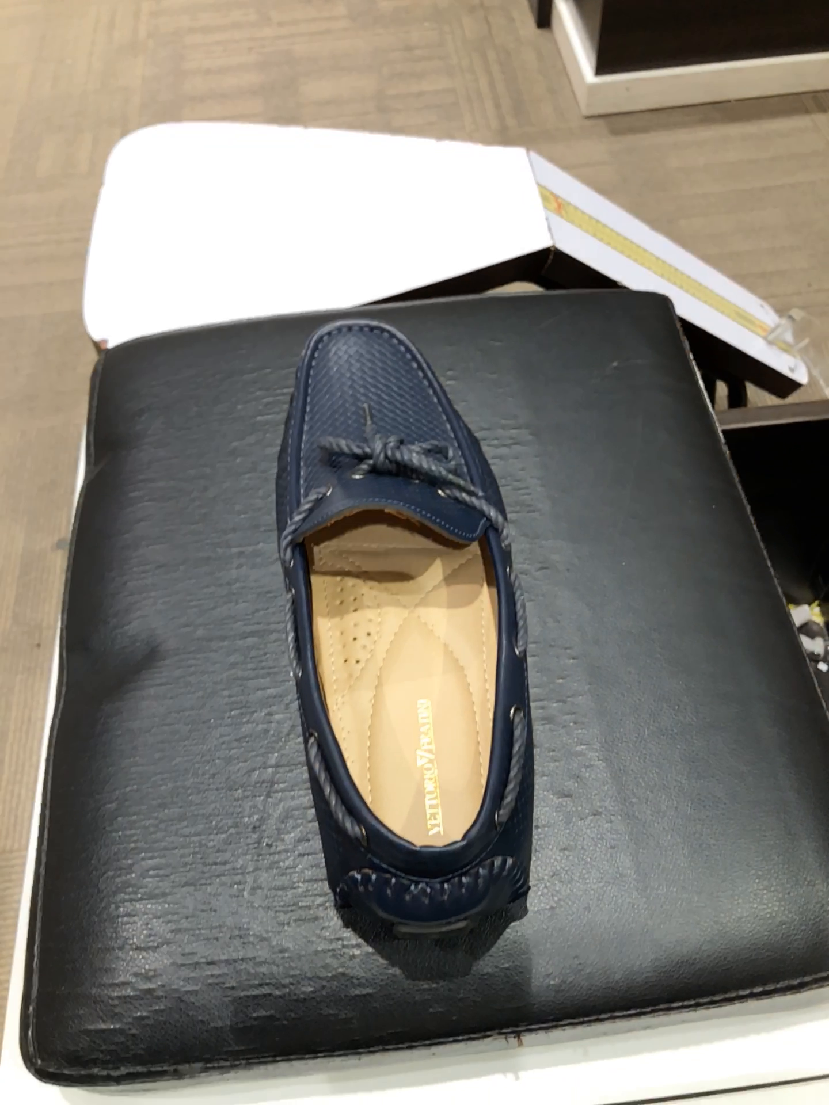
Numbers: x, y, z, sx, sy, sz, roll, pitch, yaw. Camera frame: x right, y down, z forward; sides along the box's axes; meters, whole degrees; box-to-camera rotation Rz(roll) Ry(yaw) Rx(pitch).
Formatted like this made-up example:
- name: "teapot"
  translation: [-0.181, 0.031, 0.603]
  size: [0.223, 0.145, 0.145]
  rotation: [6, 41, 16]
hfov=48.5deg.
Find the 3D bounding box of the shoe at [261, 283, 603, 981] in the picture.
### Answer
- name: "shoe"
  translation: [-0.005, 0.016, 0.377]
  size: [0.100, 0.080, 0.271]
  rotation: [-6, 56, -1]
